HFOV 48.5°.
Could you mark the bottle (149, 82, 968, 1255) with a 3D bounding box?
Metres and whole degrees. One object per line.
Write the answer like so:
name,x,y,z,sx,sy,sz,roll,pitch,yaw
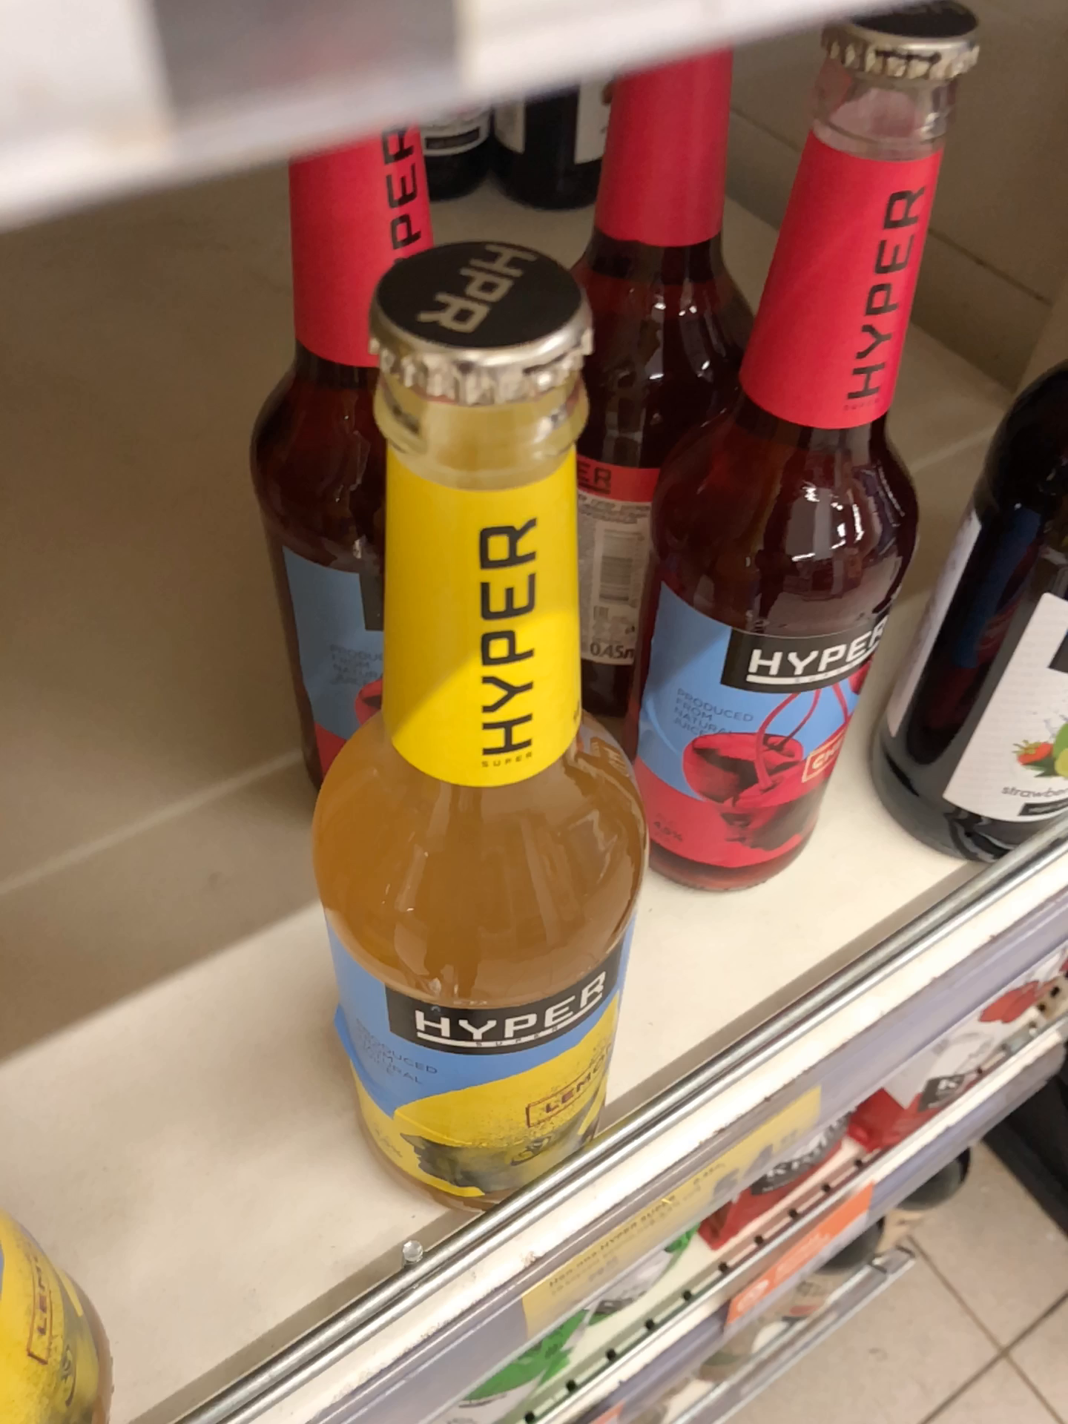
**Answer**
bottle,-0.006,0.020,0.236,0.080,0.239,0.080,1,50,-1
